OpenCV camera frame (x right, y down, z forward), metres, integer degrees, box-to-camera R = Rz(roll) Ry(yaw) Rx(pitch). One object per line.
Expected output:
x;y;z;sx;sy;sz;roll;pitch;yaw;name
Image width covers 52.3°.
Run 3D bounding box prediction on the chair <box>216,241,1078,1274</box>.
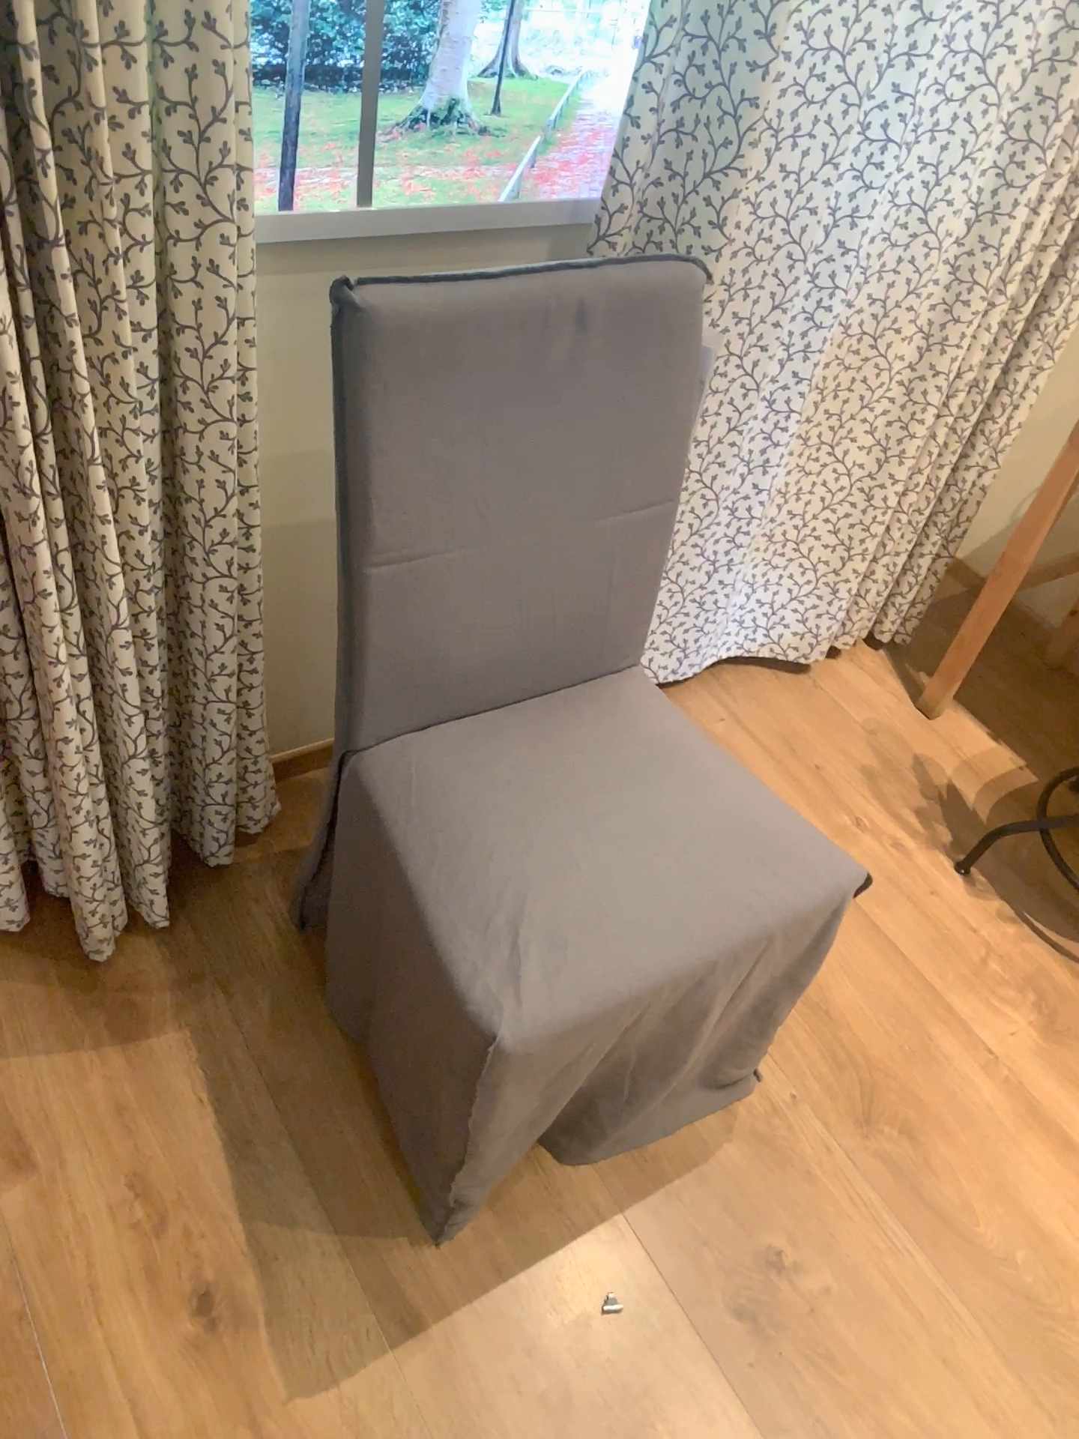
0.037;0.040;1.236;0.571;0.877;0.591;-18;51;-29;chair
